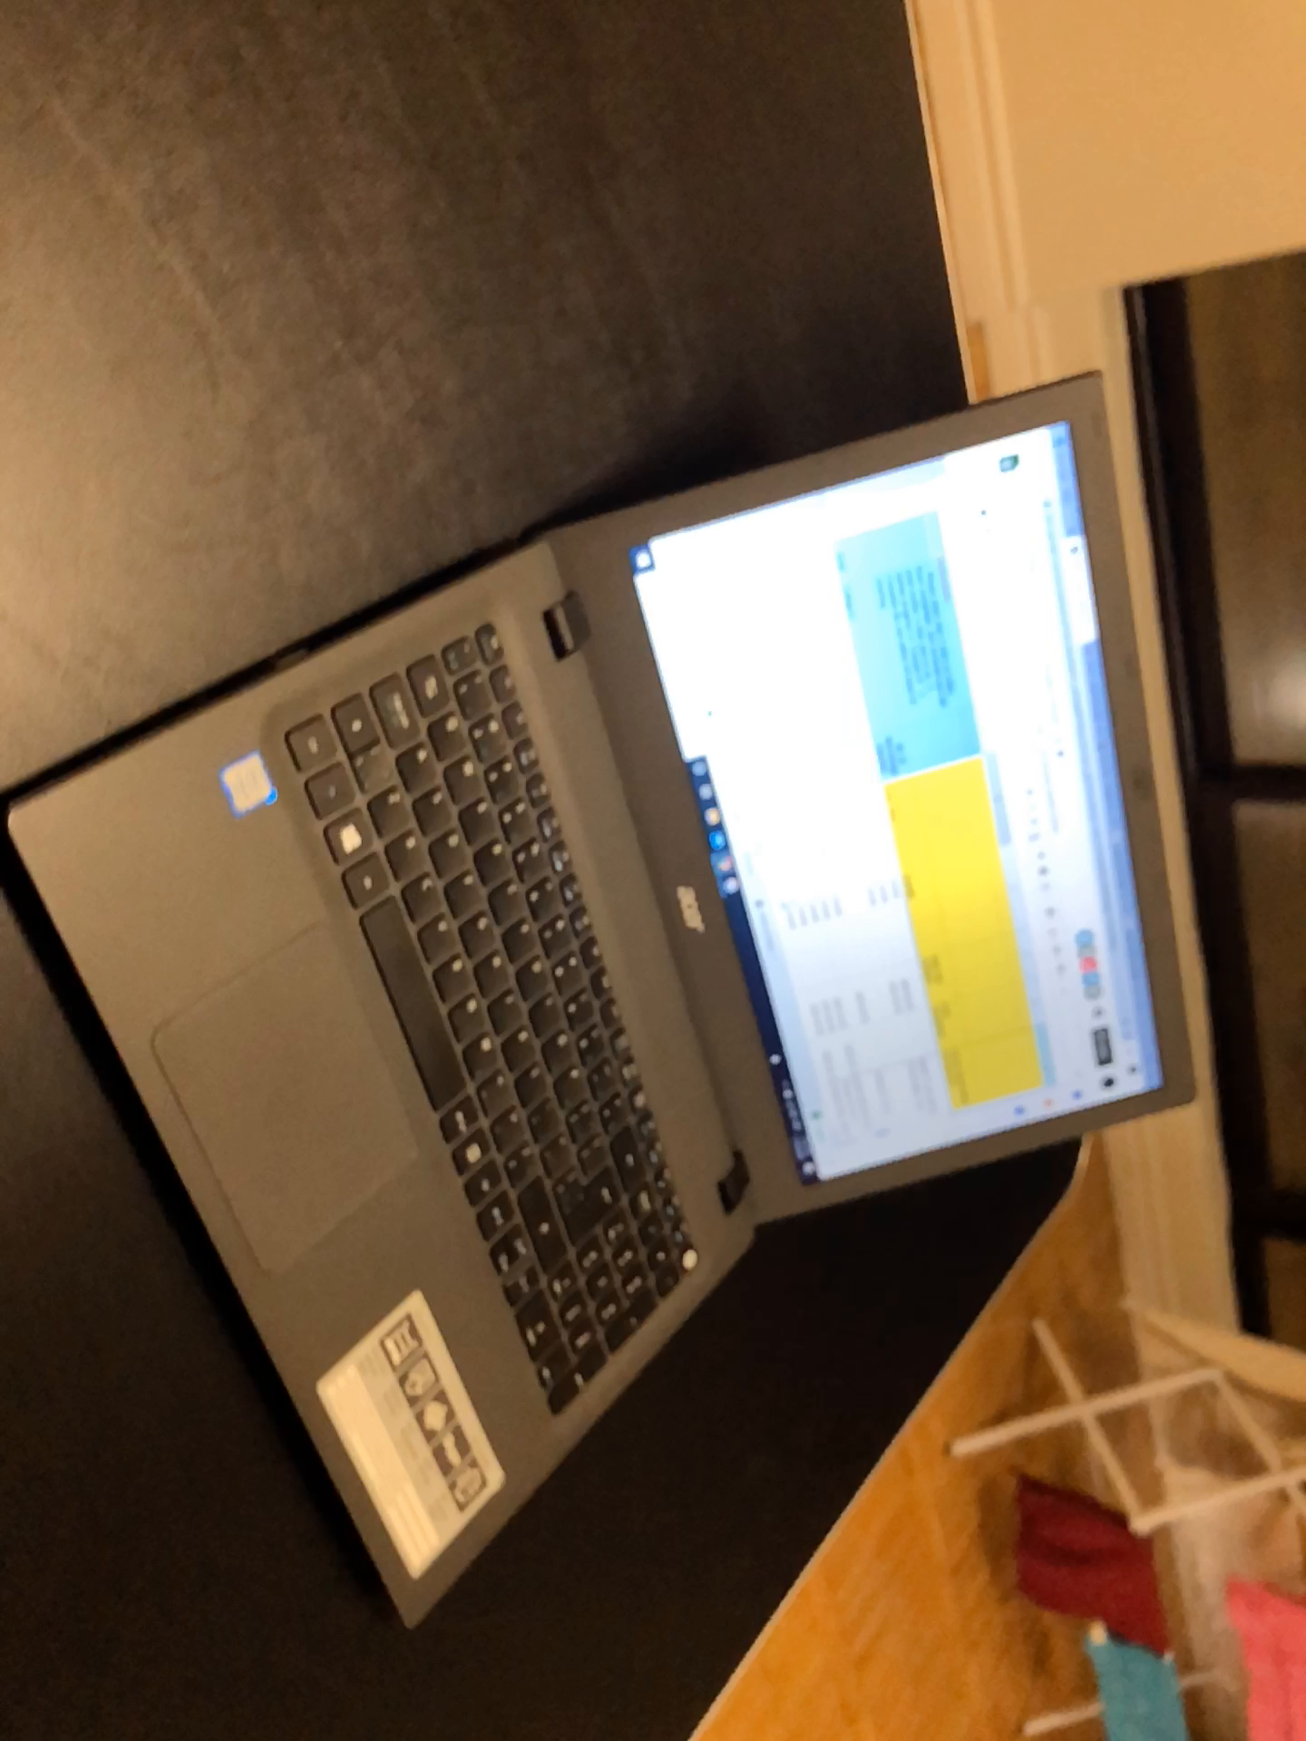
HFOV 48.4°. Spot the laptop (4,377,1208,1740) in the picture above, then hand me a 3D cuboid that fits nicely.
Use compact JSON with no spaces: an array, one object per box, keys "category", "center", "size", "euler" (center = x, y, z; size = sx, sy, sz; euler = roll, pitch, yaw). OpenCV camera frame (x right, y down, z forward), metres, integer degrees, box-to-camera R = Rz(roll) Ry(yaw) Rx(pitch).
[{"category":"laptop","center":[0.048,0.051,0.603],"size":[0.431,0.161,0.375],"euler":[-39,122,-40]}]
